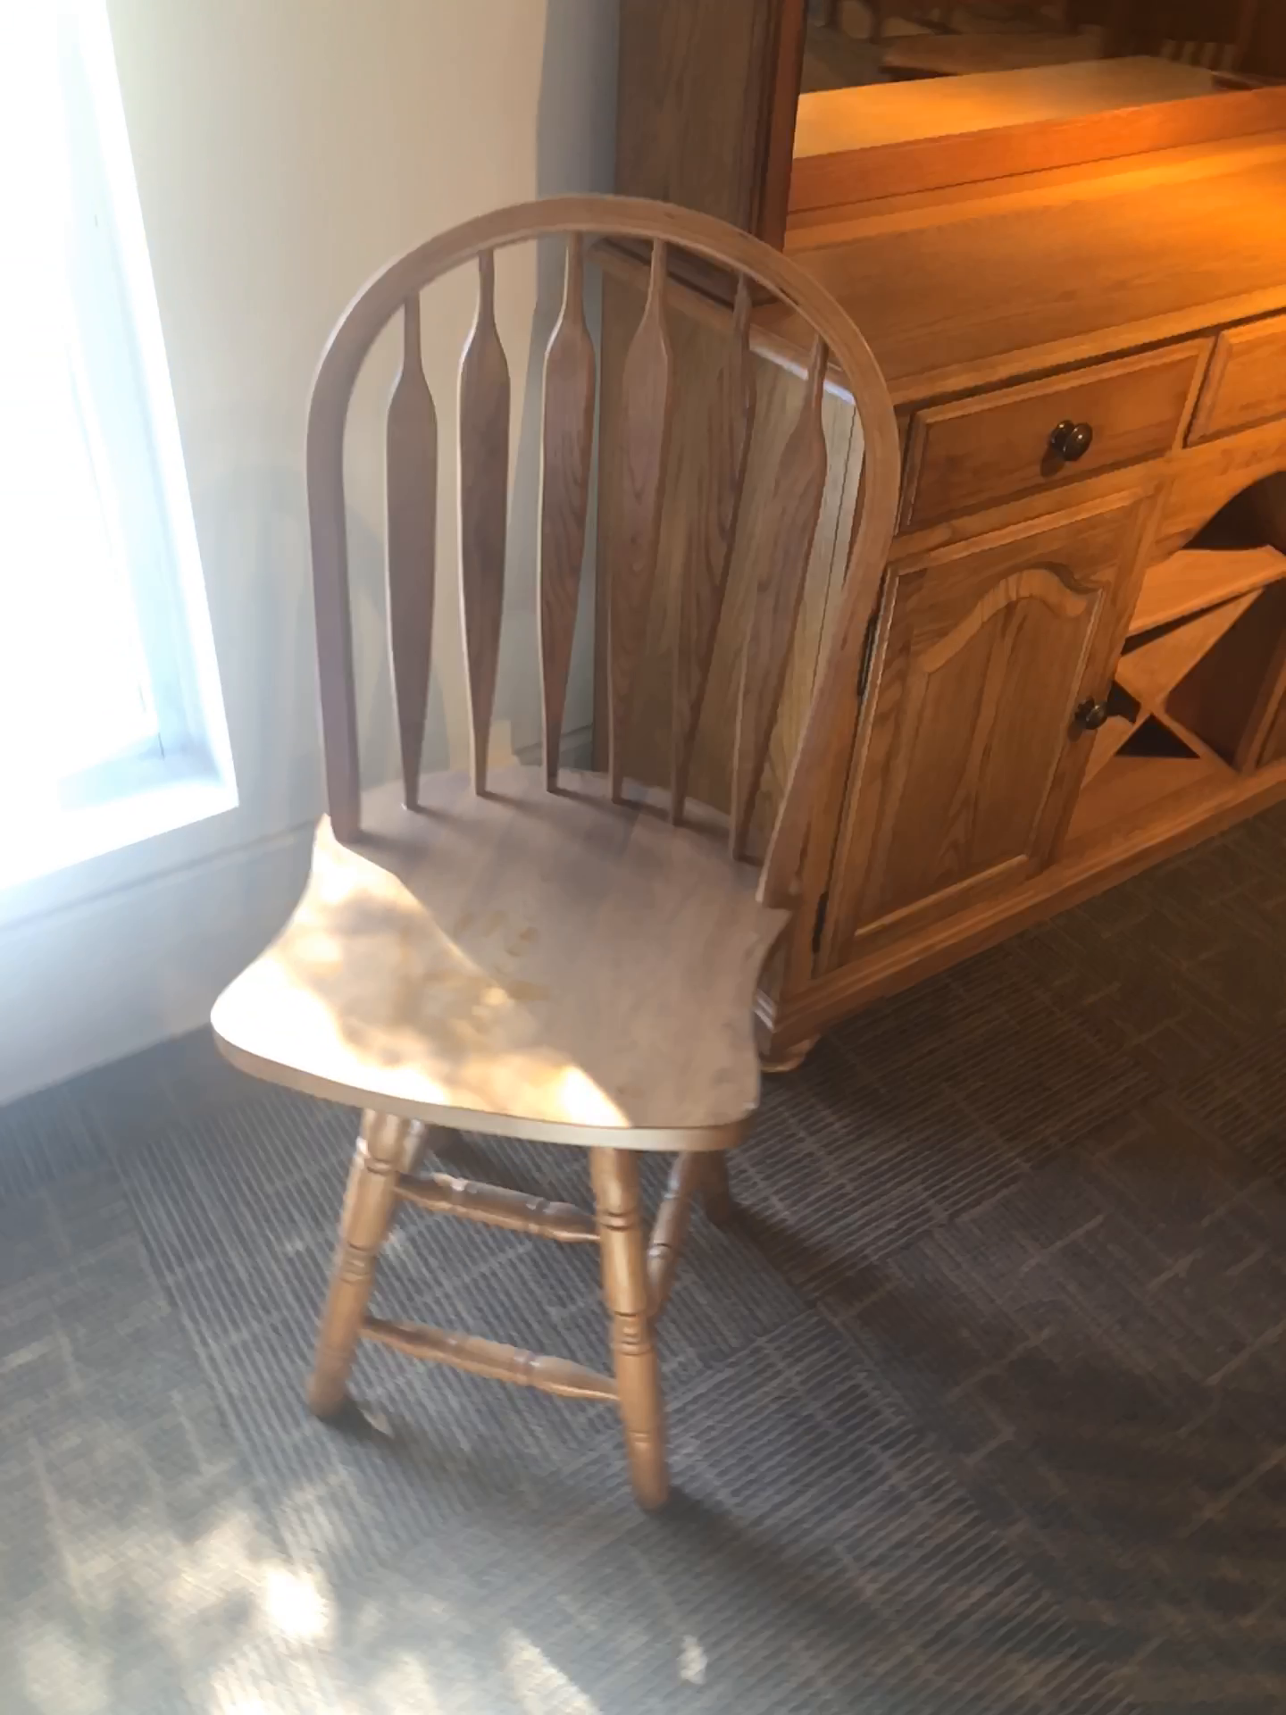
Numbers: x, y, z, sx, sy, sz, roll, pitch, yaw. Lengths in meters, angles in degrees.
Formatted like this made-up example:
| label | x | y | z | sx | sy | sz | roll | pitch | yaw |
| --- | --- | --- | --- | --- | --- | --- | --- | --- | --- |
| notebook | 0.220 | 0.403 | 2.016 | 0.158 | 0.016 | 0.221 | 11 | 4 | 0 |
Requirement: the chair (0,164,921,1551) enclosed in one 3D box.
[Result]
| label | x | y | z | sx | sy | sz | roll | pitch | yaw |
| --- | --- | --- | --- | --- | --- | --- | --- | --- | --- |
| chair | -0.100 | 0.040 | 1.226 | 0.480 | 1.025 | 0.542 | 10 | 40 | 8 |
